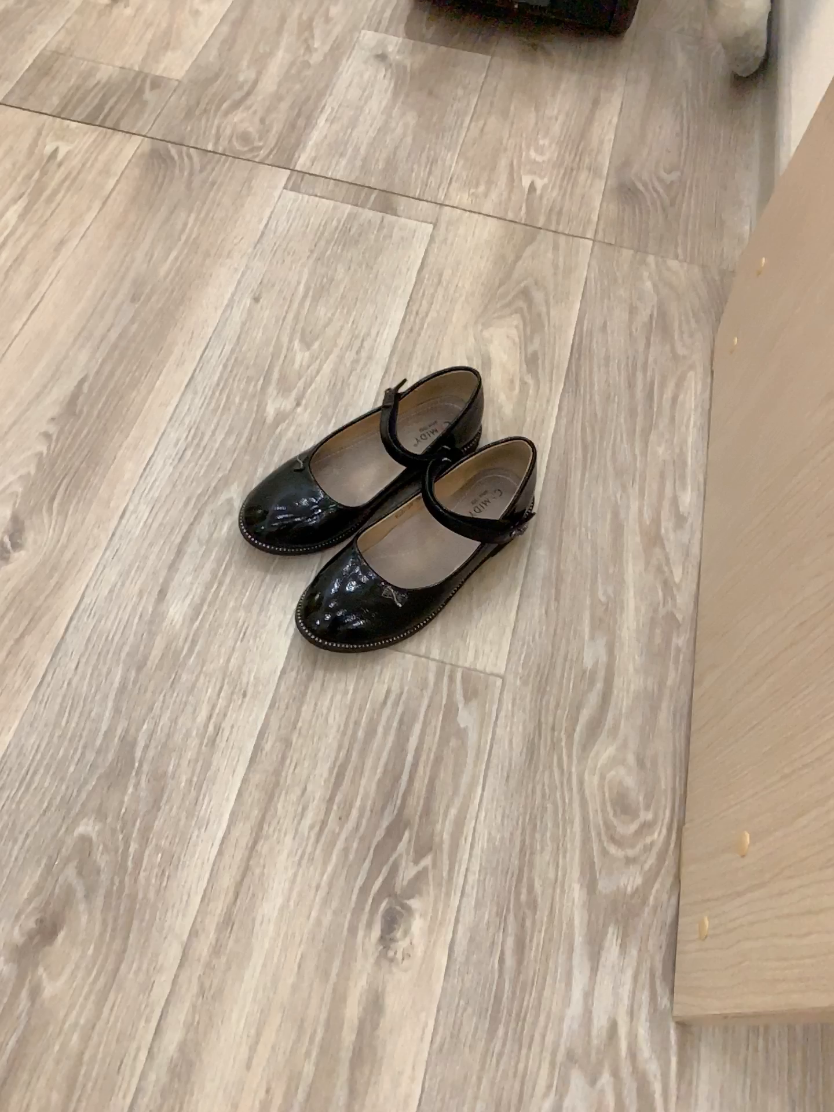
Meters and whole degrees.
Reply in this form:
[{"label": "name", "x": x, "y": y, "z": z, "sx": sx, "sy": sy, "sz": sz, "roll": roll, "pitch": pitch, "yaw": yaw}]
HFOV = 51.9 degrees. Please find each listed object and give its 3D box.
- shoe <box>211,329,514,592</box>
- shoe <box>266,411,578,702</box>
[{"label": "shoe", "x": -0.045, "y": -0.088, "z": 0.765, "sx": 0.250, "sy": 0.100, "sz": 0.090, "roll": -32, "pitch": 68, "yaw": -21}, {"label": "shoe", "x": 0.006, "y": -0.003, "z": 0.723, "sx": 0.250, "sy": 0.100, "sz": 0.090, "roll": -35, "pitch": 69, "yaw": -22}]
